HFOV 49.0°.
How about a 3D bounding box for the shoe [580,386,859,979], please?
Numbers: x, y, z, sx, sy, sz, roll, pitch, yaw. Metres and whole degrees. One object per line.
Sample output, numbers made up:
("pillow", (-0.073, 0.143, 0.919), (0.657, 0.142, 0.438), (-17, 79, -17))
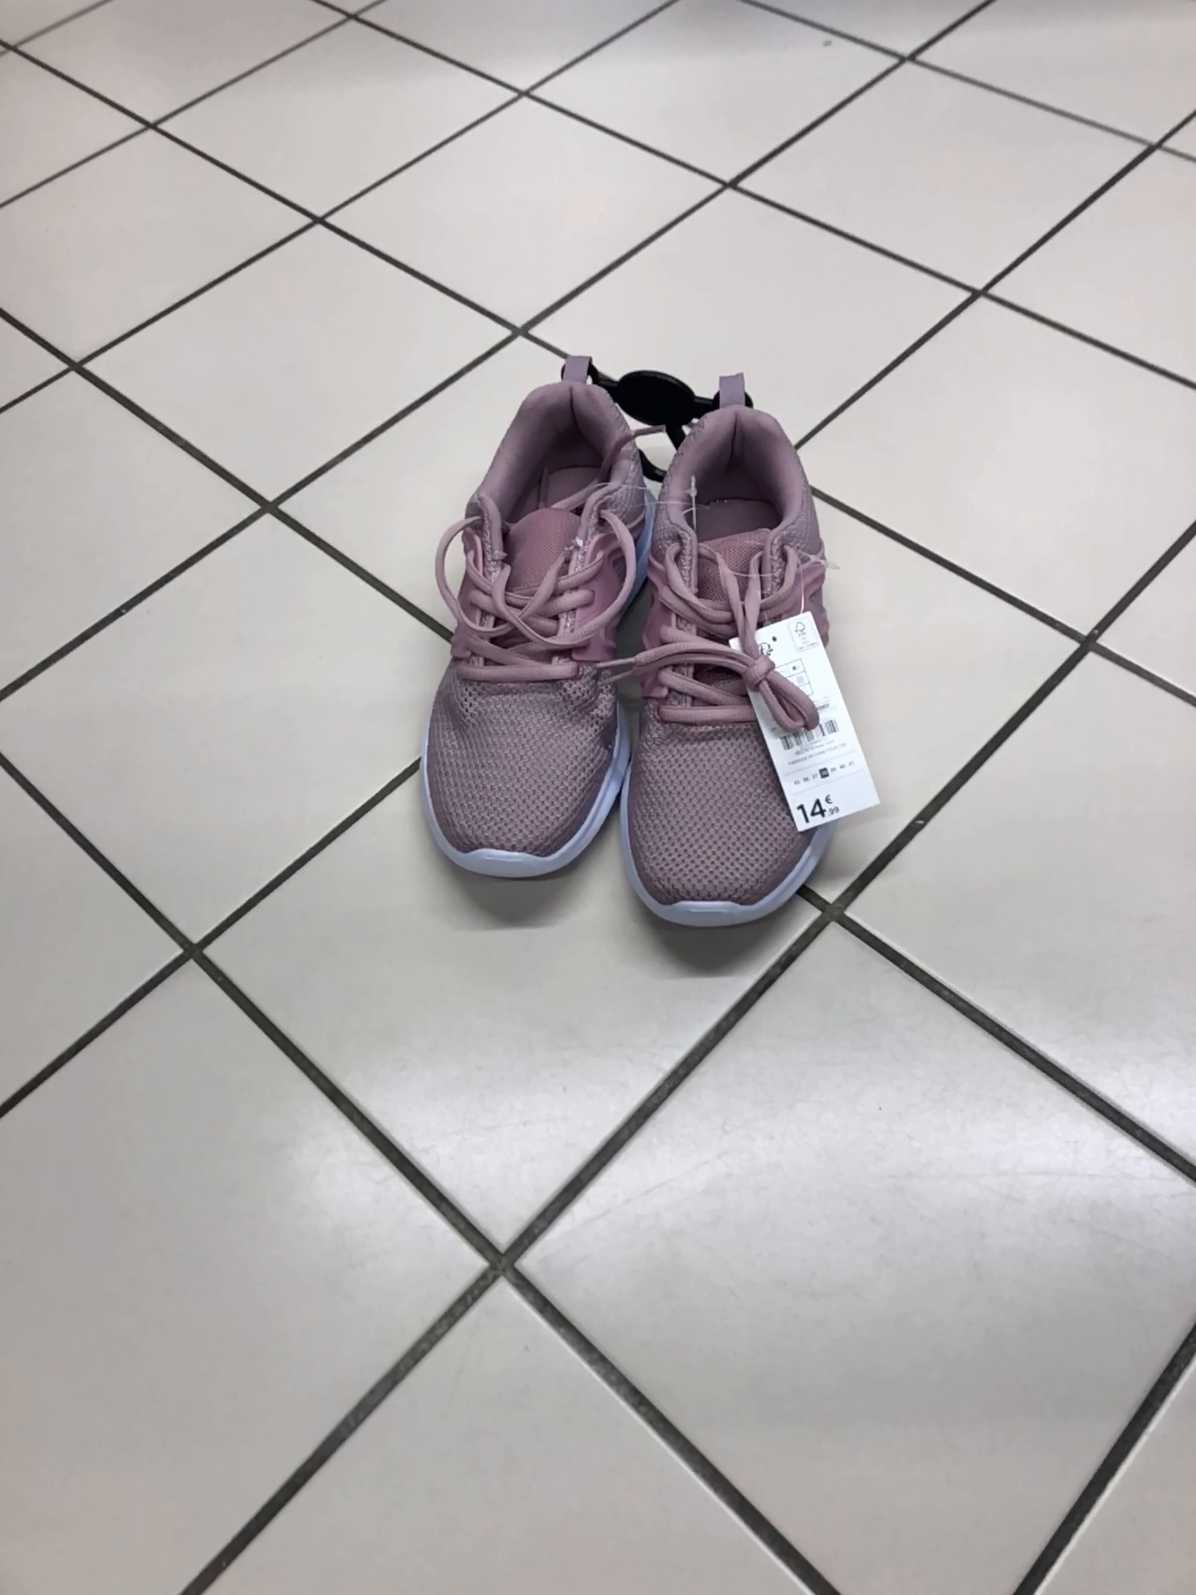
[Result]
("shoe", (0.062, -0.061, 0.596), (0.102, 0.100, 0.261), (3, 56, 7))

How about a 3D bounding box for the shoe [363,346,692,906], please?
("shoe", (-0.020, -0.089, 0.616), (0.100, 0.092, 0.261), (4, 56, 8))
